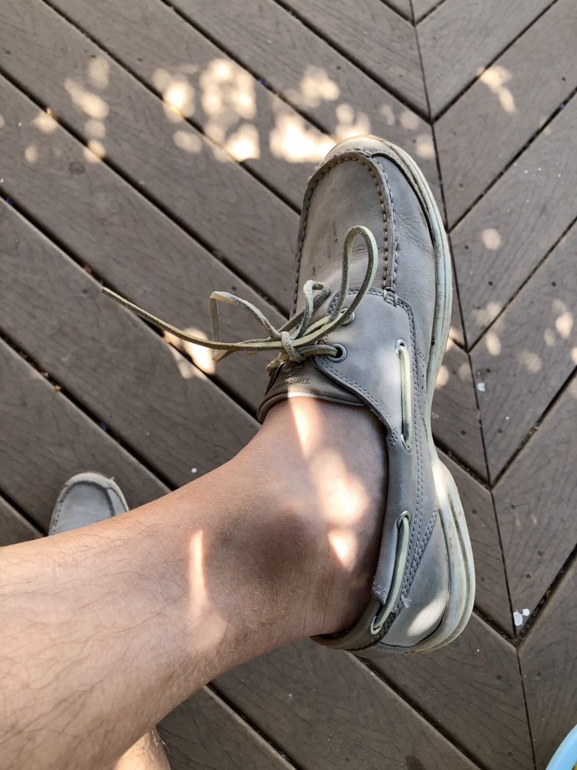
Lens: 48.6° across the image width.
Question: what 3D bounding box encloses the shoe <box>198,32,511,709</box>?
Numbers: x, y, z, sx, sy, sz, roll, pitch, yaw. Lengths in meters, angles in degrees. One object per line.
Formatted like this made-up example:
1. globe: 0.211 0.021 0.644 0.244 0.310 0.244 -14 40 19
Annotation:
1. shoe: 0.030 -0.007 0.351 0.106 0.113 0.303 15 69 -49
